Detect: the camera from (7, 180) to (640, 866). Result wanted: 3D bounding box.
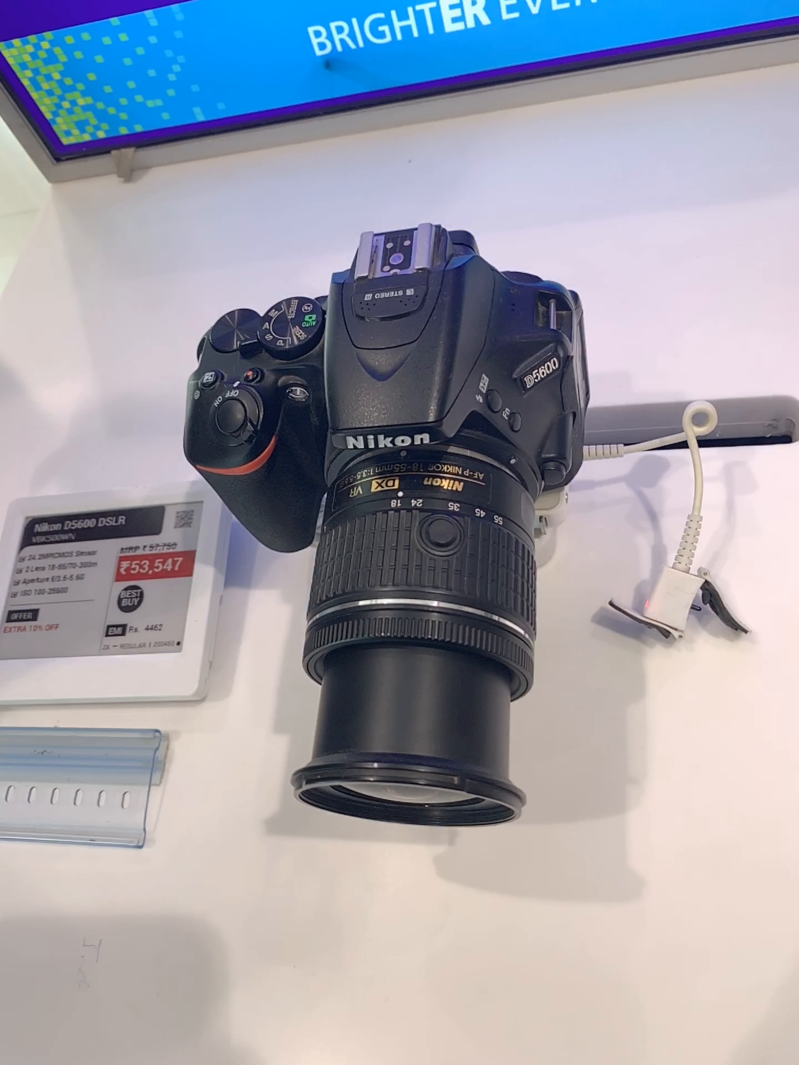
[{"bbox_3d":[-0.003,0.005,0.222,0.116,0.100,0.141,-5,59,15],"label":"camera"}]
